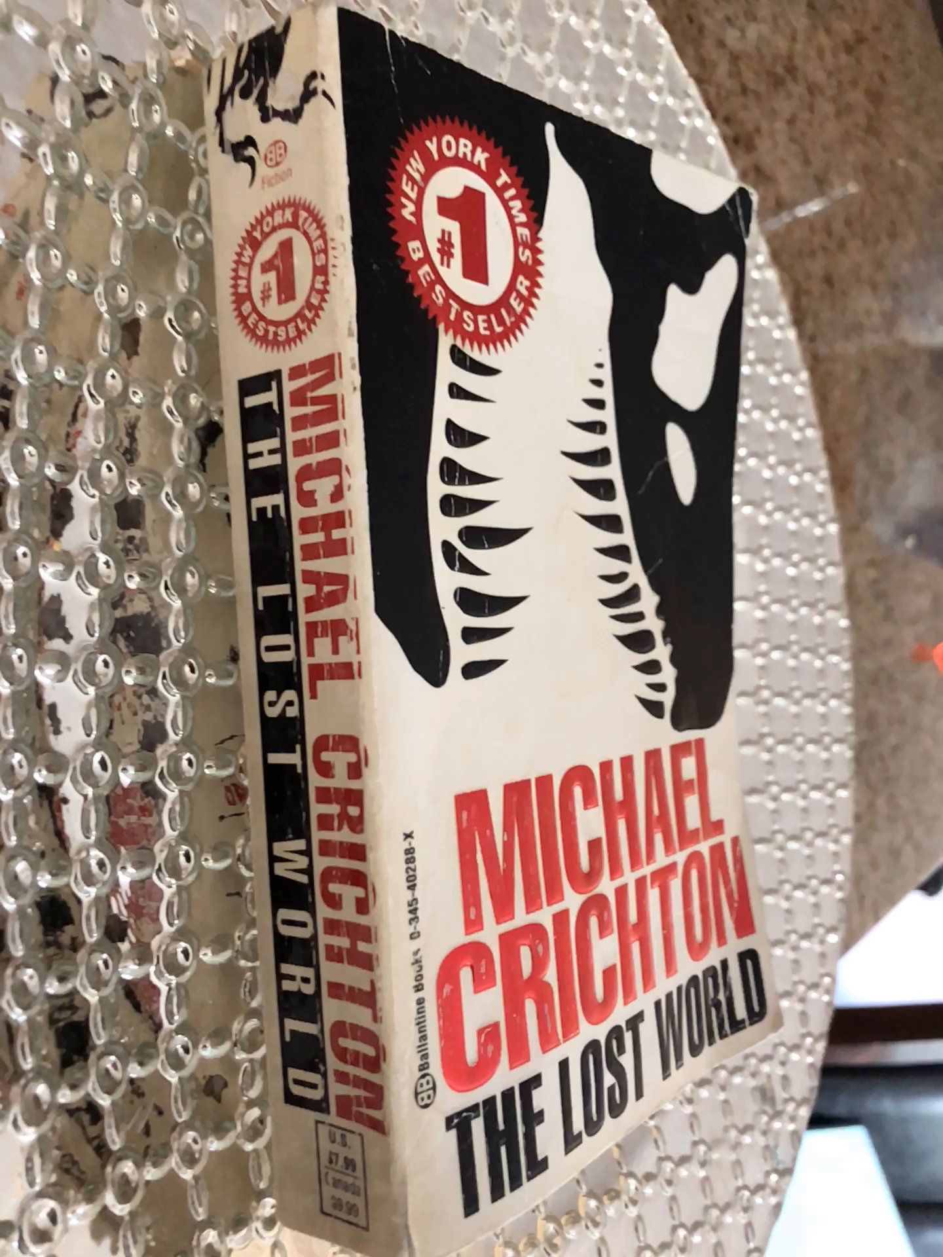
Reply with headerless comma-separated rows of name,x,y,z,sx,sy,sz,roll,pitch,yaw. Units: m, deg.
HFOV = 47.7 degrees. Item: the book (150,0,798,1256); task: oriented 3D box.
book,0.010,-0.005,0.193,0.119,0.040,0.182,-2,87,-52
